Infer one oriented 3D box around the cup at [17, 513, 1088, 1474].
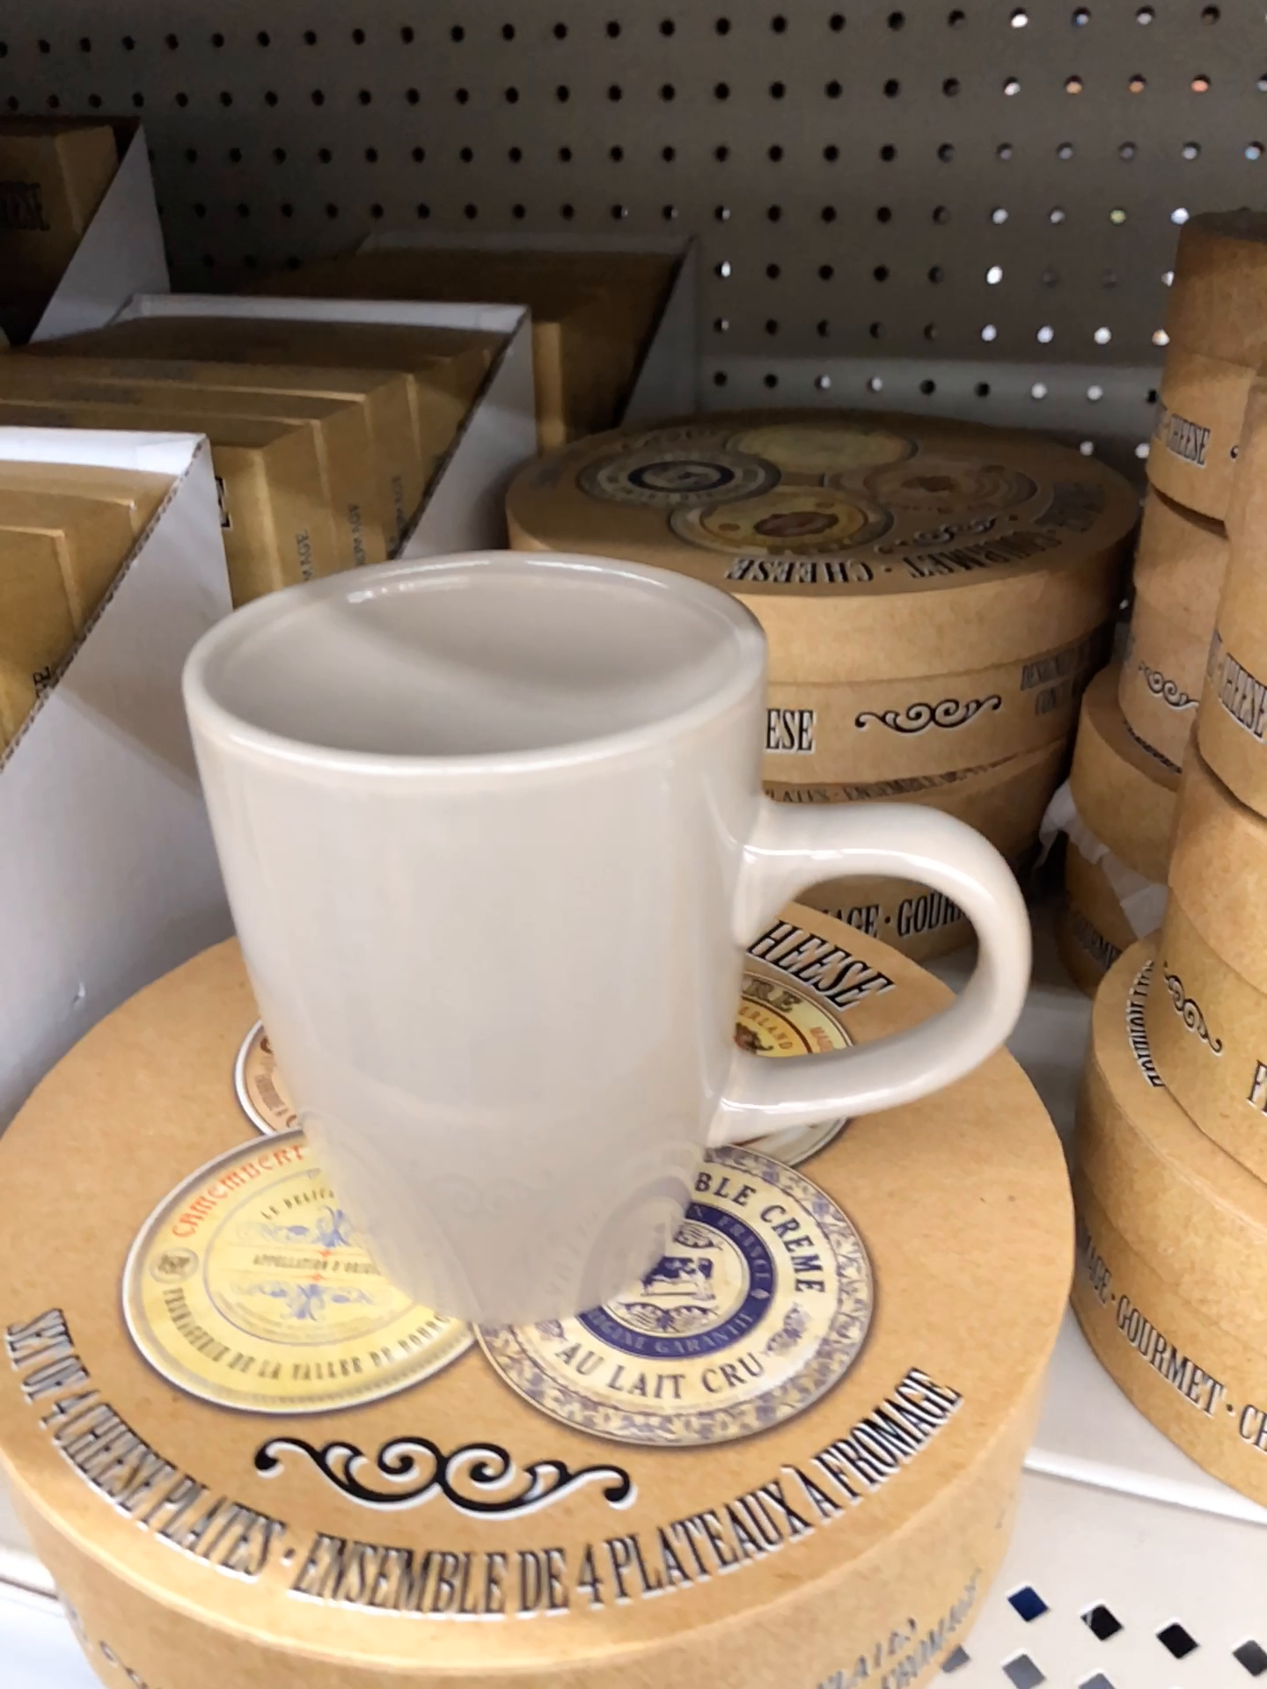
[{"bbox_3d":[-0.004,0.013,0.229,0.130,0.100,0.090,9,31,18],"label":"cup"}]
